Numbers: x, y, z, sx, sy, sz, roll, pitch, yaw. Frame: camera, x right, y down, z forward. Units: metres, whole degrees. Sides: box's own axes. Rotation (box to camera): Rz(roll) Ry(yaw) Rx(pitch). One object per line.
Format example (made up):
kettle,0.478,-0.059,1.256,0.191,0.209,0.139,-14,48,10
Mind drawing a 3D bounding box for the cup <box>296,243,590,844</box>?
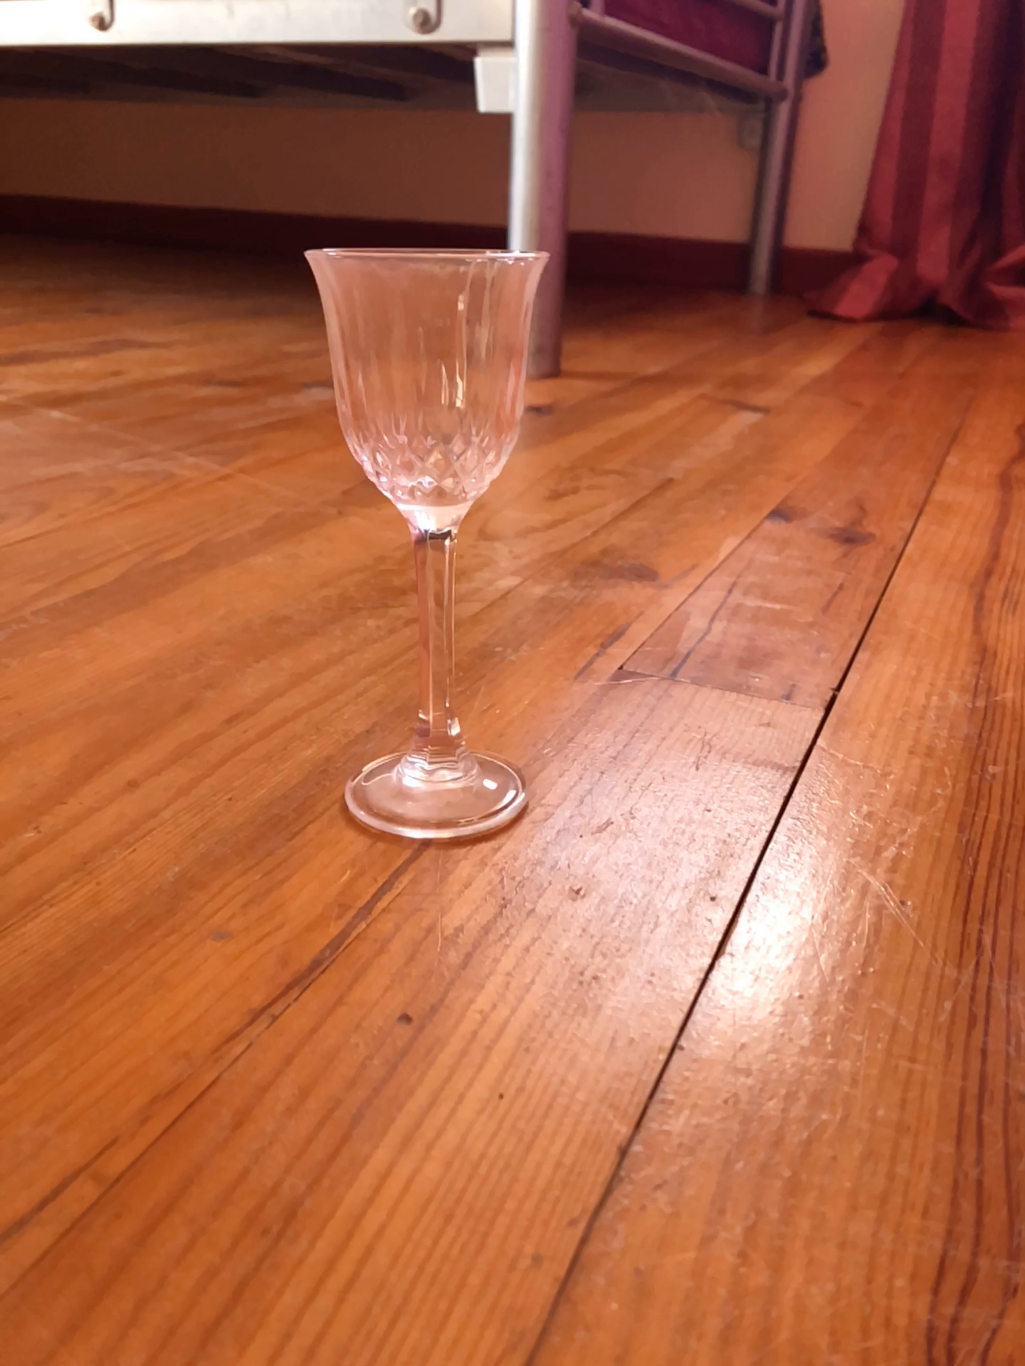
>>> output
cup,-0.017,-0.036,0.277,0.058,0.133,0.061,0,22,0
